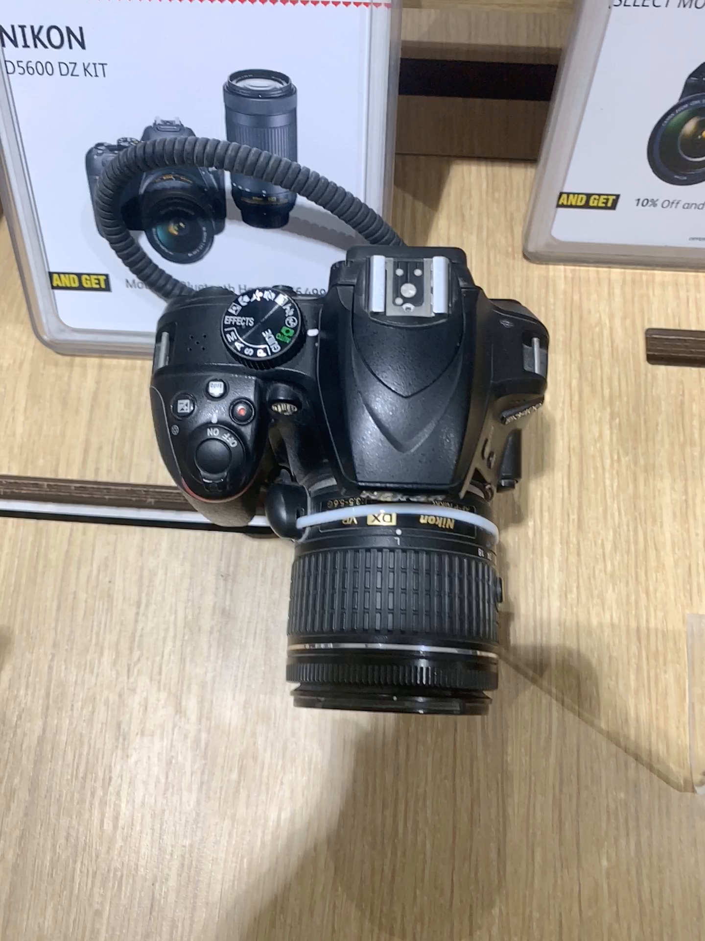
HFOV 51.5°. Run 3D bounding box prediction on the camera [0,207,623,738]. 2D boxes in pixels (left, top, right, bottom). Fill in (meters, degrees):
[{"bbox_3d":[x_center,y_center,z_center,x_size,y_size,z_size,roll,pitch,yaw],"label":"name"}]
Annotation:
[{"bbox_3d":[-0.006,0.009,0.206,0.120,0.100,0.120,1,71,2],"label":"camera"}]
